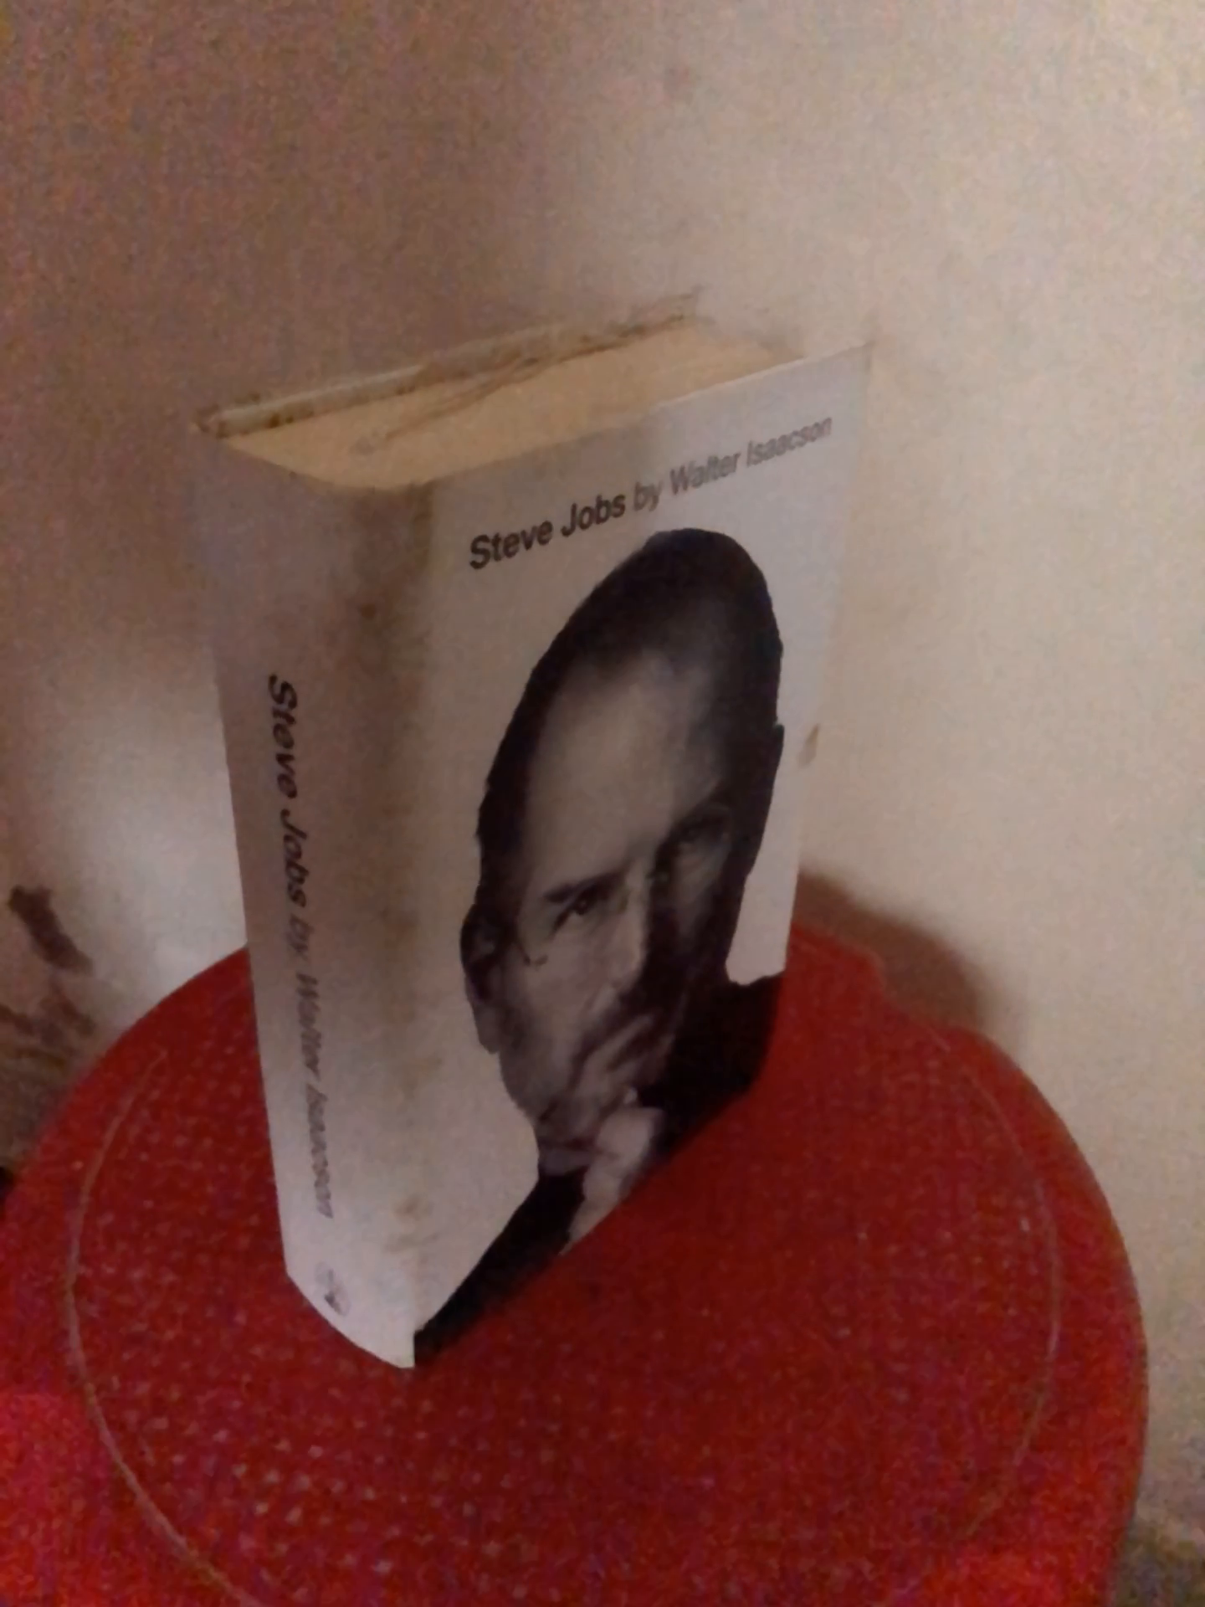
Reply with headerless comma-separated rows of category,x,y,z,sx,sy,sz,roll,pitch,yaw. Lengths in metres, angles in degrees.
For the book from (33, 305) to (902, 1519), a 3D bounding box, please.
book,-0.017,0.020,0.315,0.060,0.229,0.171,26,39,32
